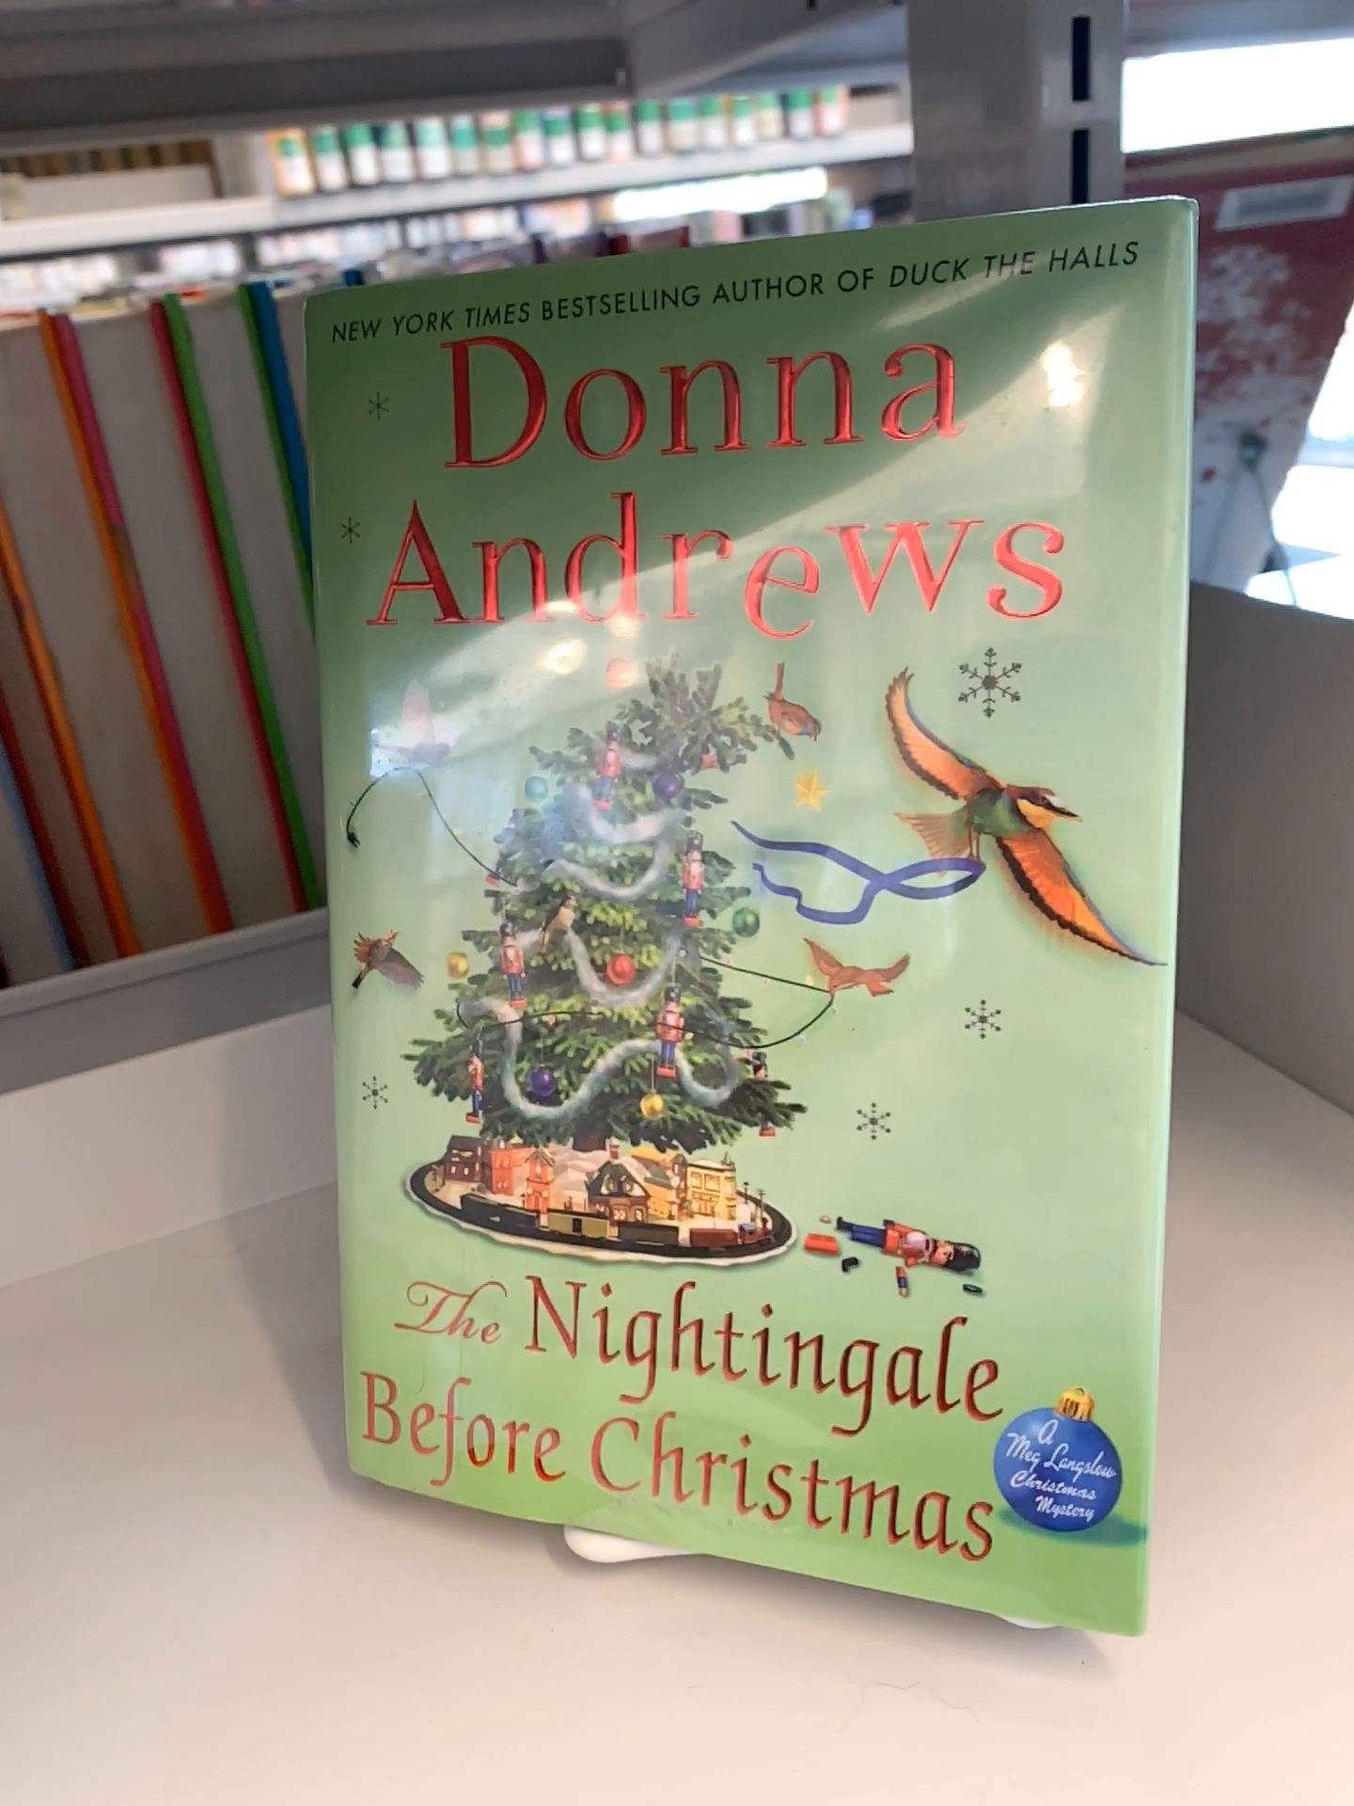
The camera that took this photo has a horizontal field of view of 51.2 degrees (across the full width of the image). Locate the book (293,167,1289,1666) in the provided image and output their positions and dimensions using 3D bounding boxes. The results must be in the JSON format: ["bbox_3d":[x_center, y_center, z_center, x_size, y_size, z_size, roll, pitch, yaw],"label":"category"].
[{"bbox_3d":[0.014,0.002,0.230,0.145,0.200,0.040,3,7,20],"label":"book"}]
